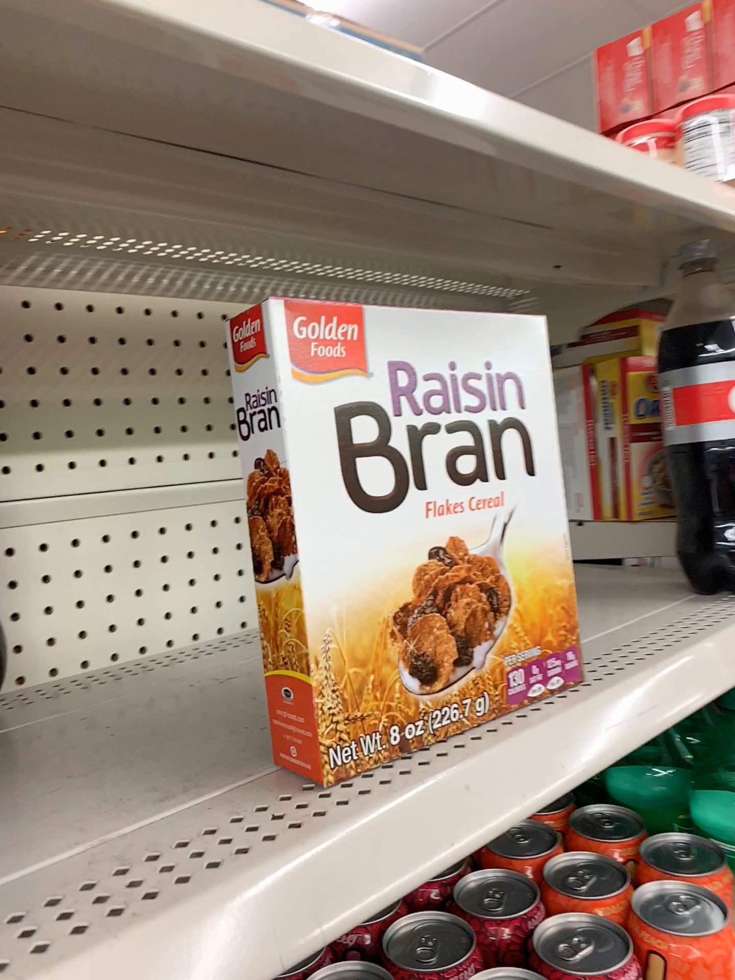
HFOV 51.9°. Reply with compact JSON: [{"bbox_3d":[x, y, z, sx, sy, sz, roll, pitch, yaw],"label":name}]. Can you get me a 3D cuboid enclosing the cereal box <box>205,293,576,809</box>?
[{"bbox_3d":[0.022,0.019,0.413,0.190,0.230,0.050,-7,0,-37],"label":"cereal box"}]
